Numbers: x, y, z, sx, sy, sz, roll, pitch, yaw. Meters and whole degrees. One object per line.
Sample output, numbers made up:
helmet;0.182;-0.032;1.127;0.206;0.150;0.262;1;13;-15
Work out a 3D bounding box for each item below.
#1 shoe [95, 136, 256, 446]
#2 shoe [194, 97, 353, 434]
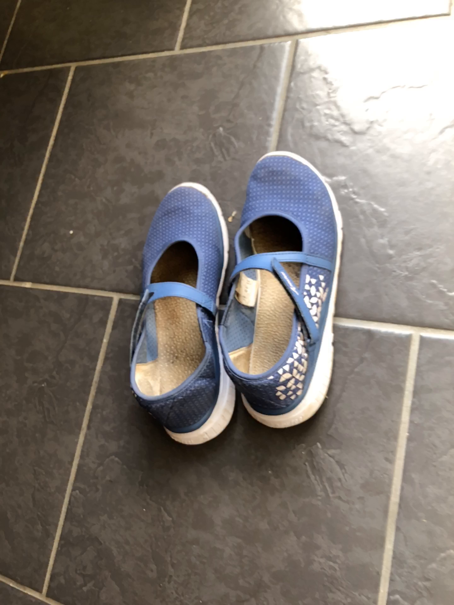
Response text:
shoe;-0.049;-0.003;0.527;0.110;0.120;0.291;-9;72;22
shoe;0.052;-0.026;0.488;0.110;0.120;0.291;-4;73;23
